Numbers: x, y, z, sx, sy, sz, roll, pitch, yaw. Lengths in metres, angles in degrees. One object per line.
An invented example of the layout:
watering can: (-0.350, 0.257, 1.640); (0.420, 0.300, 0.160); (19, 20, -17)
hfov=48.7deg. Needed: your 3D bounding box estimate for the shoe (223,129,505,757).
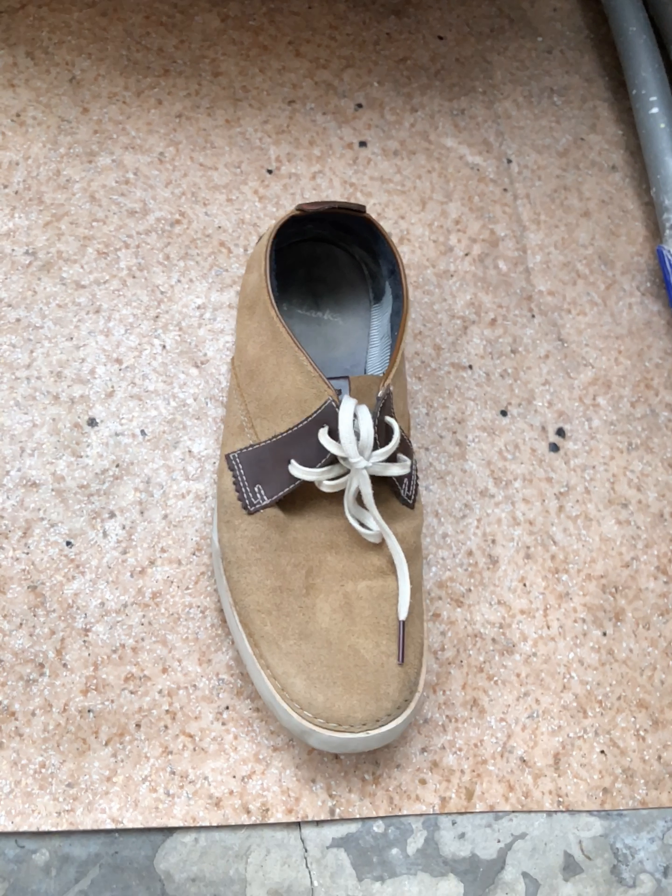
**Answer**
shoe: (0.000, -0.008, 0.385); (0.110, 0.090, 0.301); (1, 70, -11)
